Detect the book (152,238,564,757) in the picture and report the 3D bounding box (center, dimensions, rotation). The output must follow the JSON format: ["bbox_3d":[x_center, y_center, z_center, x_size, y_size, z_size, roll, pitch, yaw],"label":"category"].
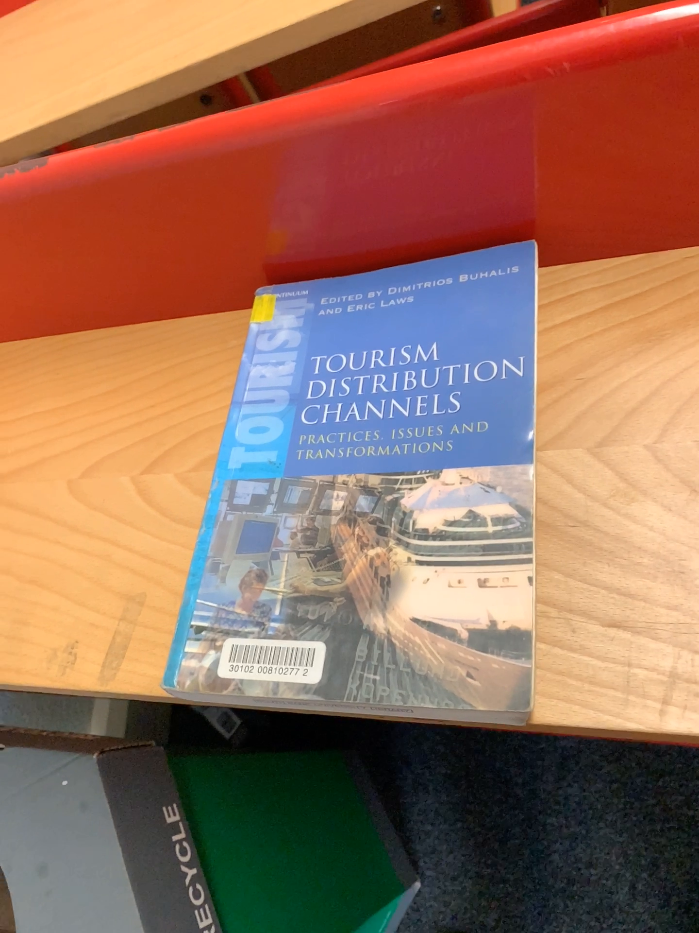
[{"bbox_3d":[0.014,0.001,0.346,0.167,0.031,0.239,-2,61,20],"label":"book"}]
